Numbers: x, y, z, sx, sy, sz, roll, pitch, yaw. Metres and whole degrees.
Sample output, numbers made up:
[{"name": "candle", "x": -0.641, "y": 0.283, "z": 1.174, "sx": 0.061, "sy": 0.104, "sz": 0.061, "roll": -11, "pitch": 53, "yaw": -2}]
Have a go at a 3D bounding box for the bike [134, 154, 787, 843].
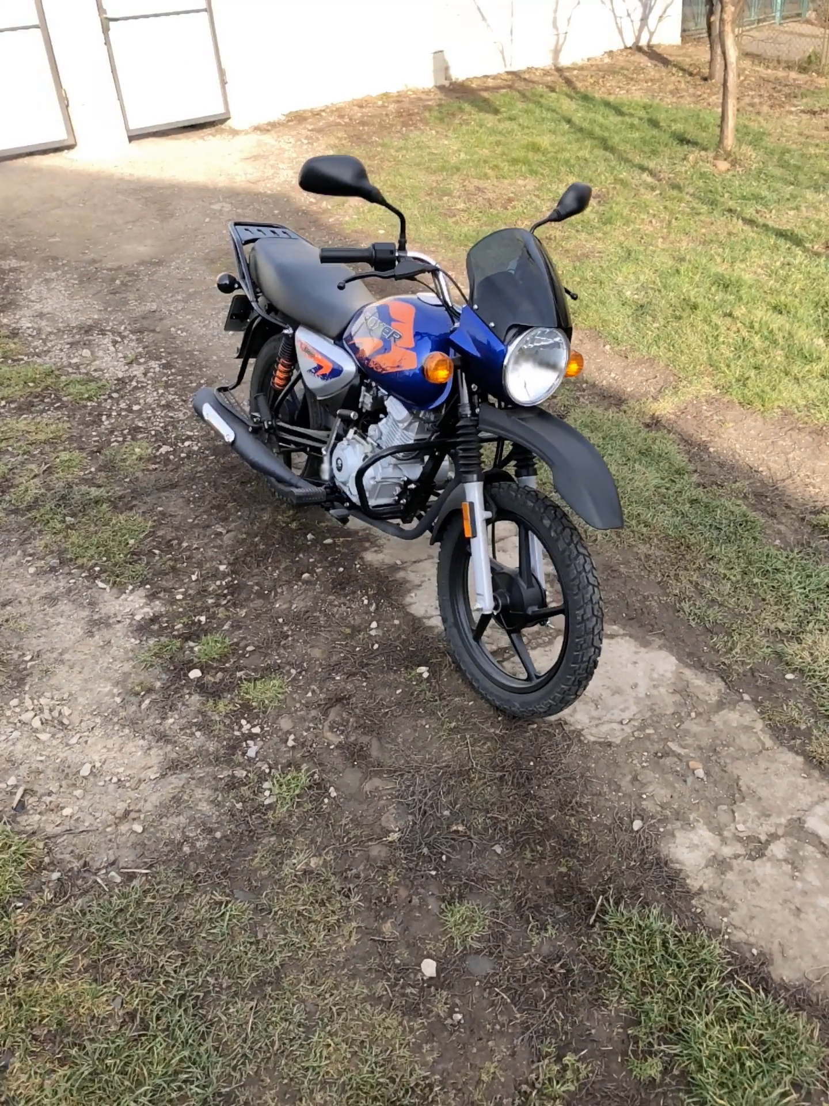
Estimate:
[{"name": "bike", "x": -0.022, "y": -0.354, "z": 2.568, "sx": 0.808, "sy": 1.049, "sz": 1.787, "roll": -20, "pitch": 38, "yaw": -24}]
